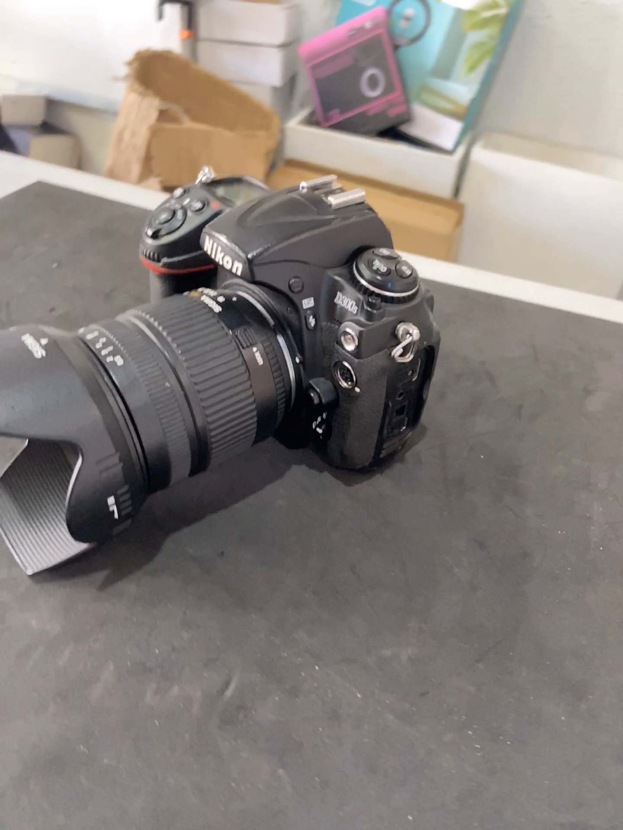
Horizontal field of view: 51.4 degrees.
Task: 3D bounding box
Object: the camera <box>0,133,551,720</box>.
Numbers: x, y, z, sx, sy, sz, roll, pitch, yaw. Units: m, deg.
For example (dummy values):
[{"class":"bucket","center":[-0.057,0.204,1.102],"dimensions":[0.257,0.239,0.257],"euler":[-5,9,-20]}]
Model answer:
[{"class":"camera","center":[-0.043,-0.024,0.264],"dimensions":[0.181,0.109,0.171],"euler":[-24,47,-32]}]
